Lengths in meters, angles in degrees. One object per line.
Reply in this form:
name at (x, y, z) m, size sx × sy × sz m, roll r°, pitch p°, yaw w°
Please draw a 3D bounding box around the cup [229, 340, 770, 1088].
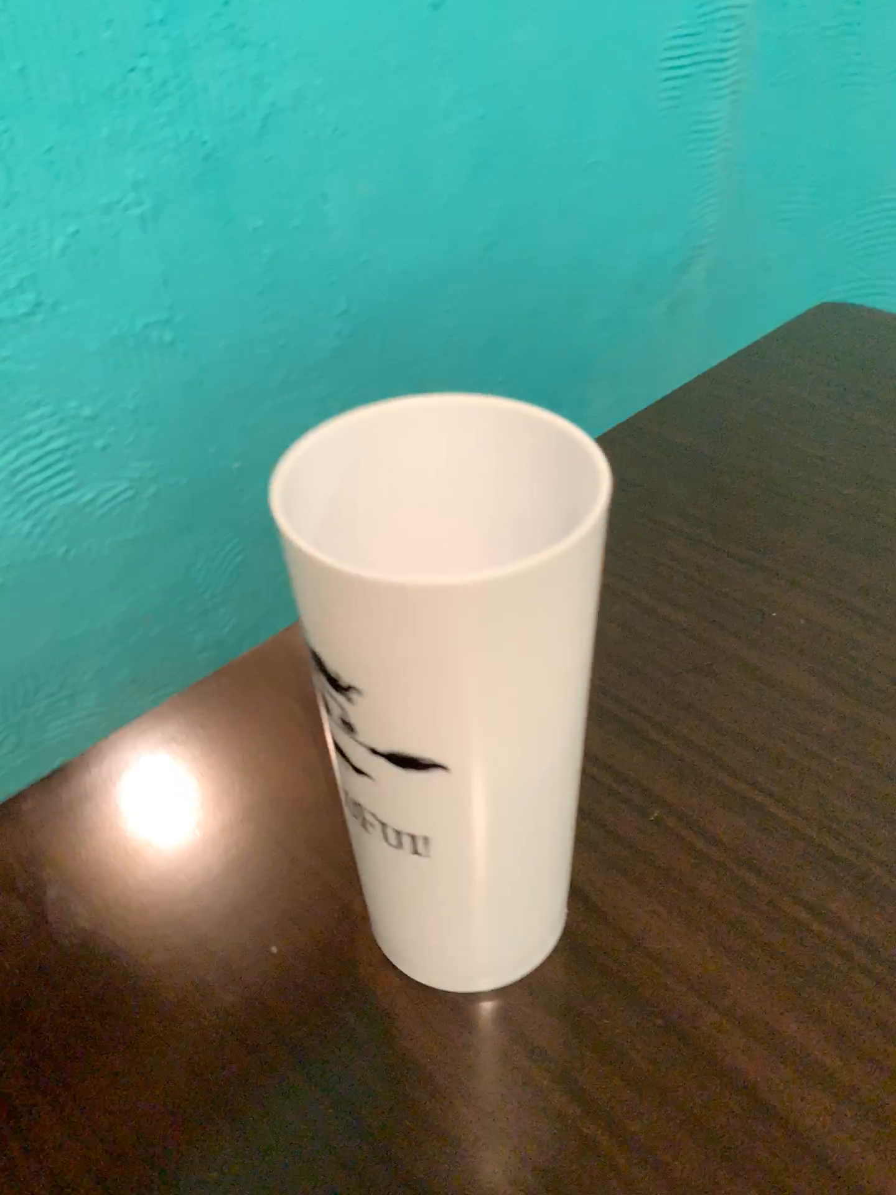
cup at (0.012, 0.032, 0.218) m, size 0.070 × 0.149 × 0.070 m, roll -2°, pitch 40°, yaw 2°
